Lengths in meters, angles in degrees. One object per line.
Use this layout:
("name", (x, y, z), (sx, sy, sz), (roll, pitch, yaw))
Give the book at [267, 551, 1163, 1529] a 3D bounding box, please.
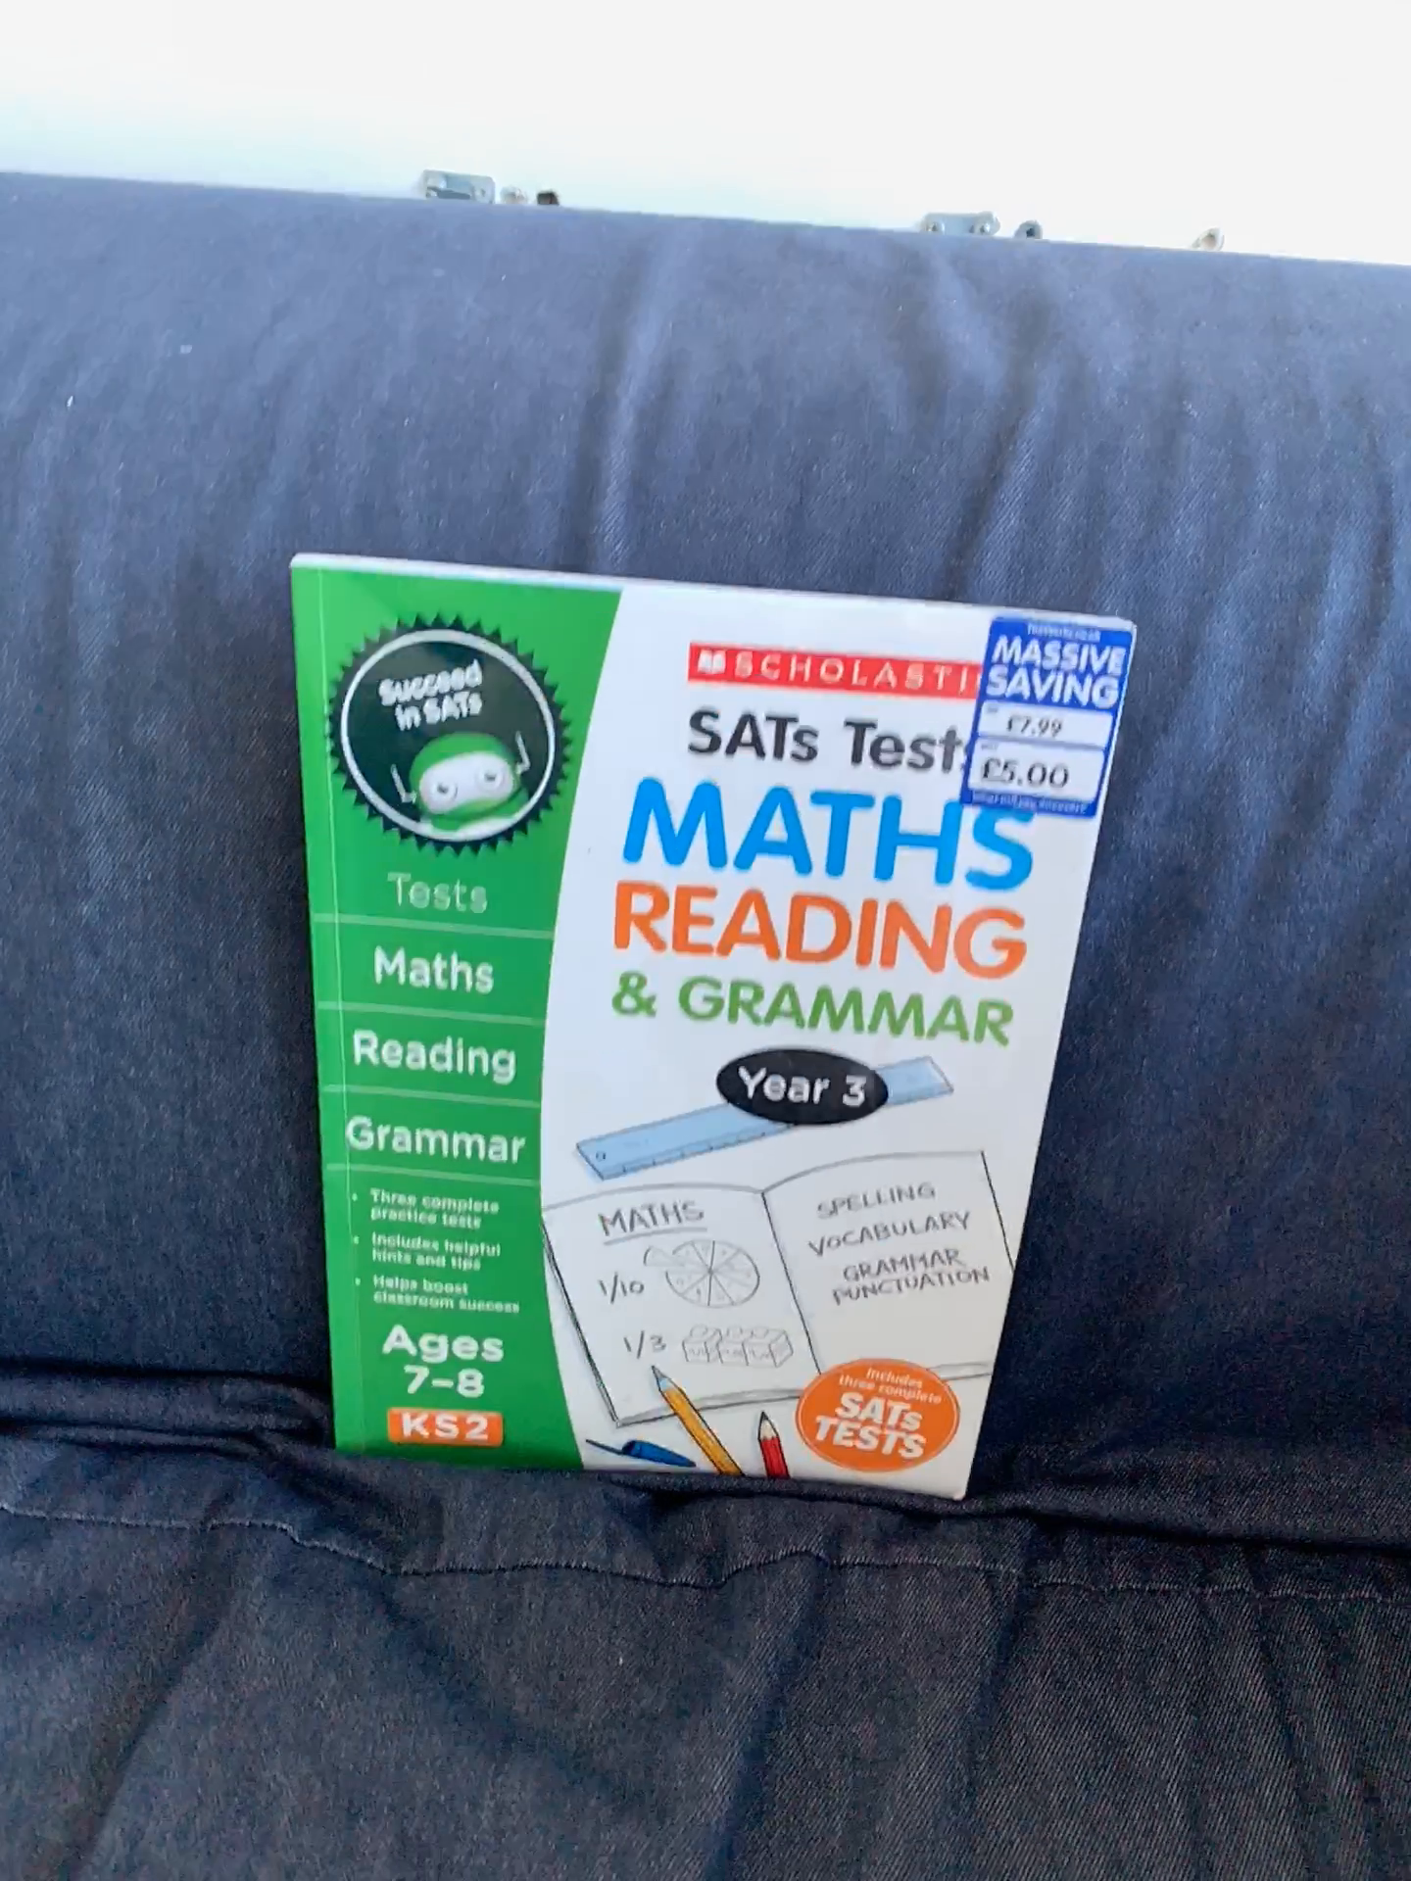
("book", (-0.007, 0.047, 0.412), (0.209, 0.293, 0.022), (4, 27, 0))
